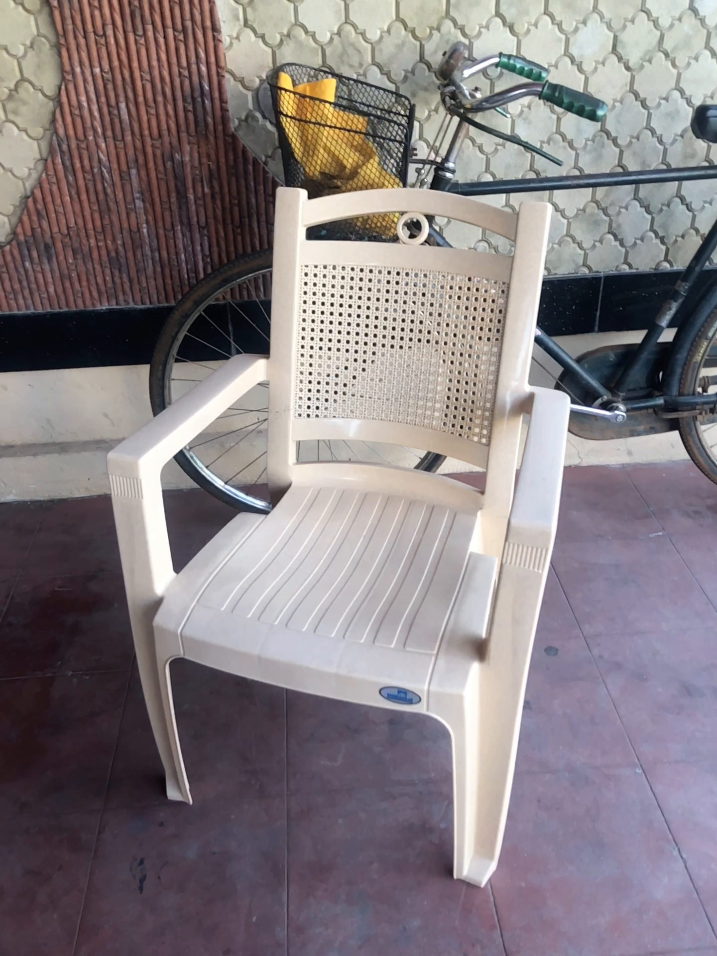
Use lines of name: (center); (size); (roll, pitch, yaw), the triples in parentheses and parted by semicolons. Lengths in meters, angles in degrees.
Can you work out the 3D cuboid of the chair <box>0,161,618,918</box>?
chair: (-0.012, 0.054, 1.123); (0.590, 0.825, 0.553); (9, 35, 16)
